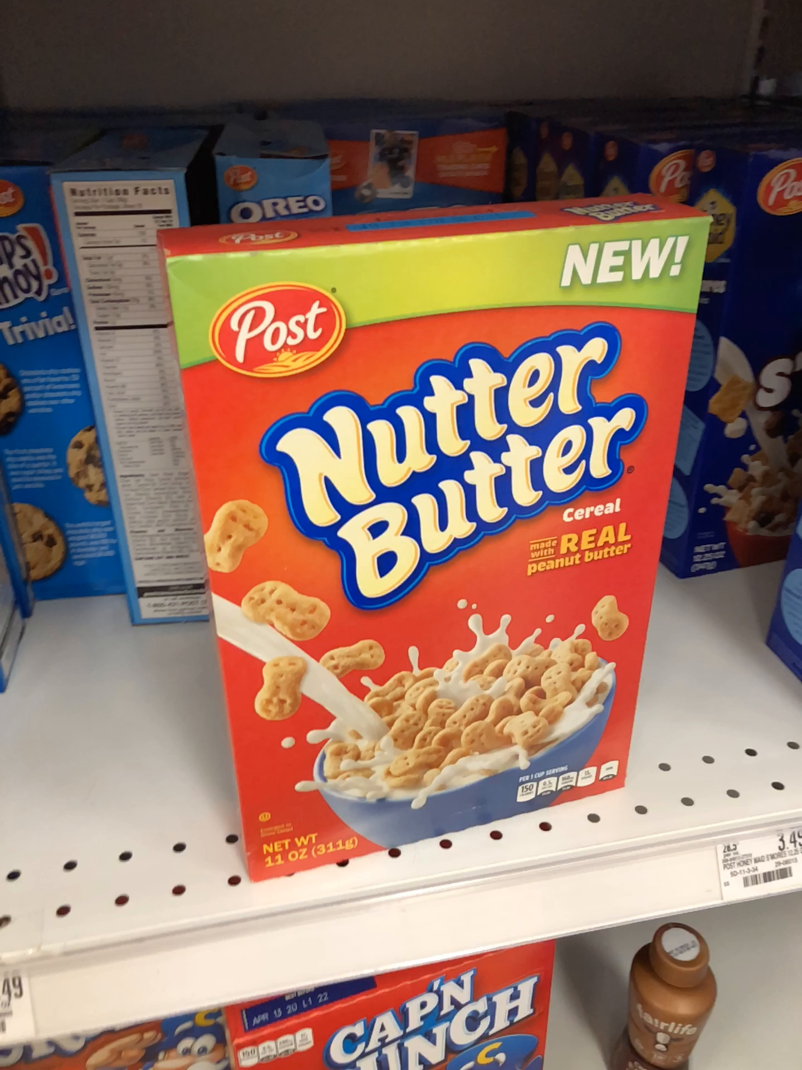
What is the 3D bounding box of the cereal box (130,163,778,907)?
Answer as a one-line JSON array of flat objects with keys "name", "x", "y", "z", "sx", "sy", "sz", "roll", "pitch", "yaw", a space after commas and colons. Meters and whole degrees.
[{"name": "cereal box", "x": 0.017, "y": 0.005, "z": 0.356, "sx": 0.200, "sy": 0.269, "sz": 0.070, "roll": -9, "pitch": 31, "yaw": -15}]
